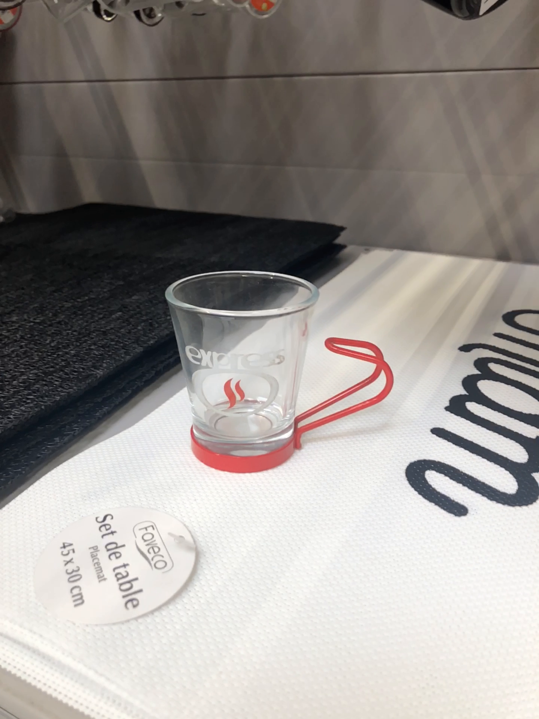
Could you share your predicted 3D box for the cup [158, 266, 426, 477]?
[{"bbox_3d":[0.005,0.001,0.240,0.092,0.063,0.056,-3,21,-8],"label":"cup"}]
